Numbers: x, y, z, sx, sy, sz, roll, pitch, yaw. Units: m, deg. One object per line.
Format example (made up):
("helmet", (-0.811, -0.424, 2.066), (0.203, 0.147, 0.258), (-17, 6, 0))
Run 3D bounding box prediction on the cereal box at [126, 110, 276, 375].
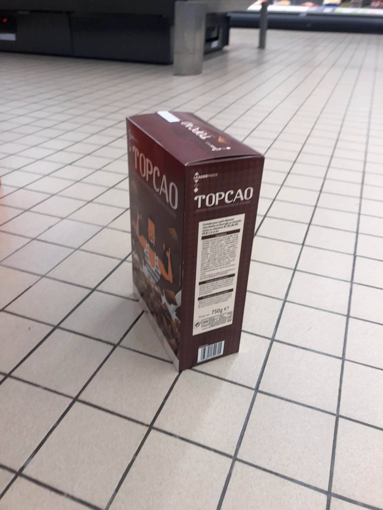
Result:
("cereal box", (-0.003, -0.023, 0.577), (0.100, 0.288, 0.201), (-13, 35, -22))
